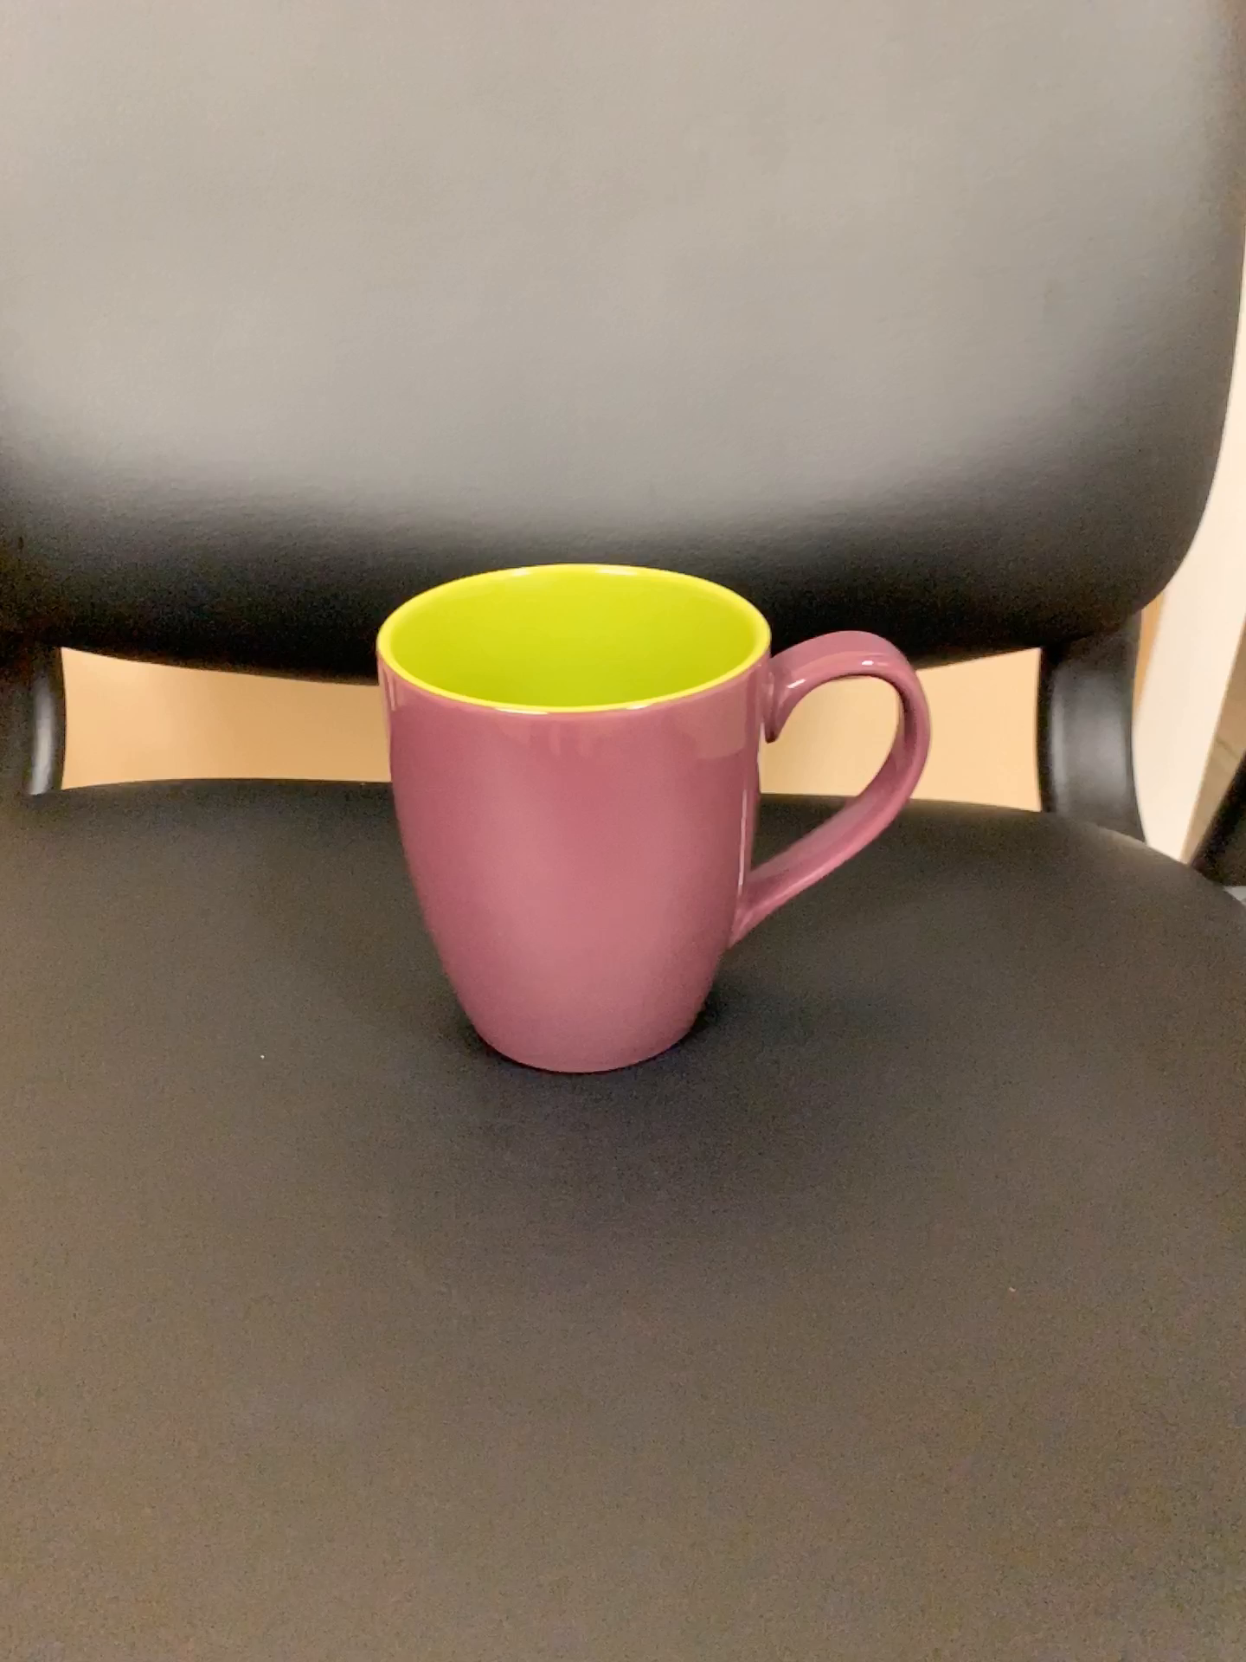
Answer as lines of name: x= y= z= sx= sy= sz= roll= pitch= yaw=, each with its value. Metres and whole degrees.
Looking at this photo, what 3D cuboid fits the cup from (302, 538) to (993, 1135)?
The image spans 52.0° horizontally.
cup: x=0.000 y=-0.003 z=0.327 sx=0.143 sy=0.109 sz=0.090 roll=-5 pitch=32 yaw=-8
